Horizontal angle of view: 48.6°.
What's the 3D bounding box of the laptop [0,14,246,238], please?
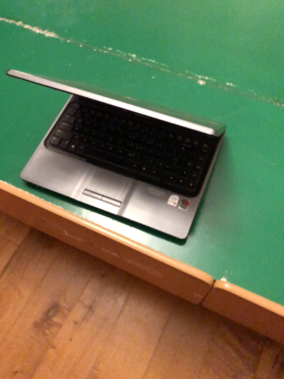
[{"bbox_3d":[-0.034,-0.104,0.521,0.316,0.171,0.227,20,67,12],"label":"laptop"}]
